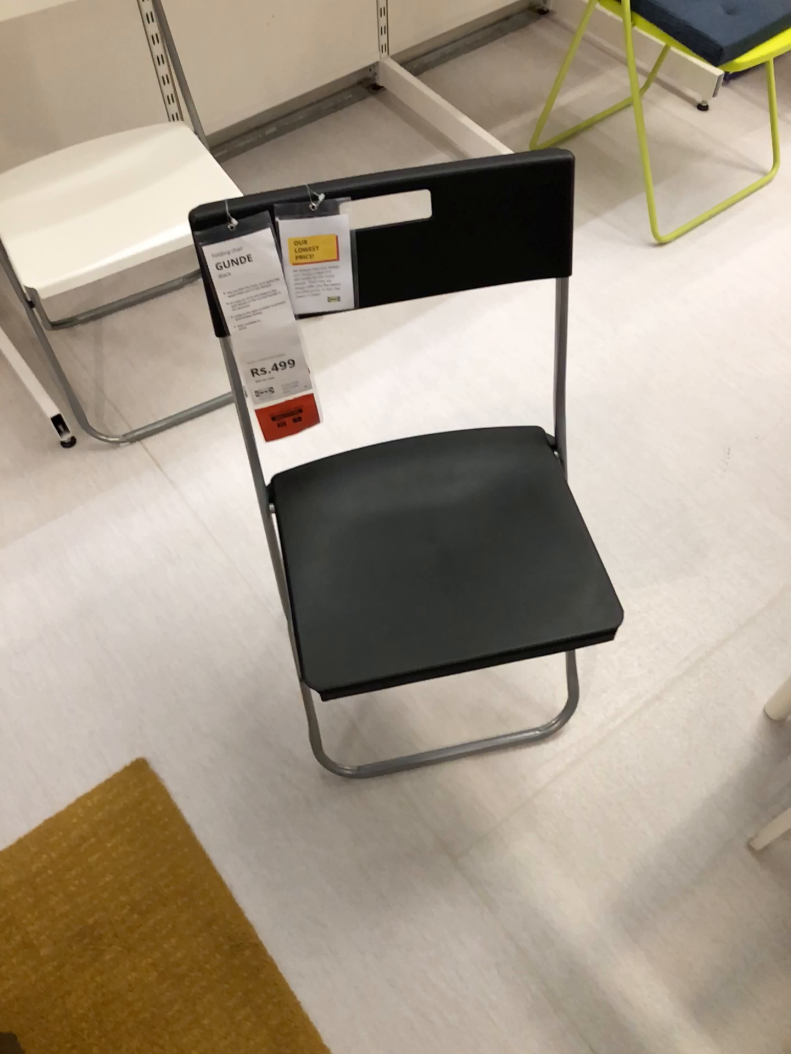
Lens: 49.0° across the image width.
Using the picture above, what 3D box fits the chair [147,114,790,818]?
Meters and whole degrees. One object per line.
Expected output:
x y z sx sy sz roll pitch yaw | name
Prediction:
0.043 -0.006 1.141 0.500 0.786 0.462 -12 58 -6 | chair
